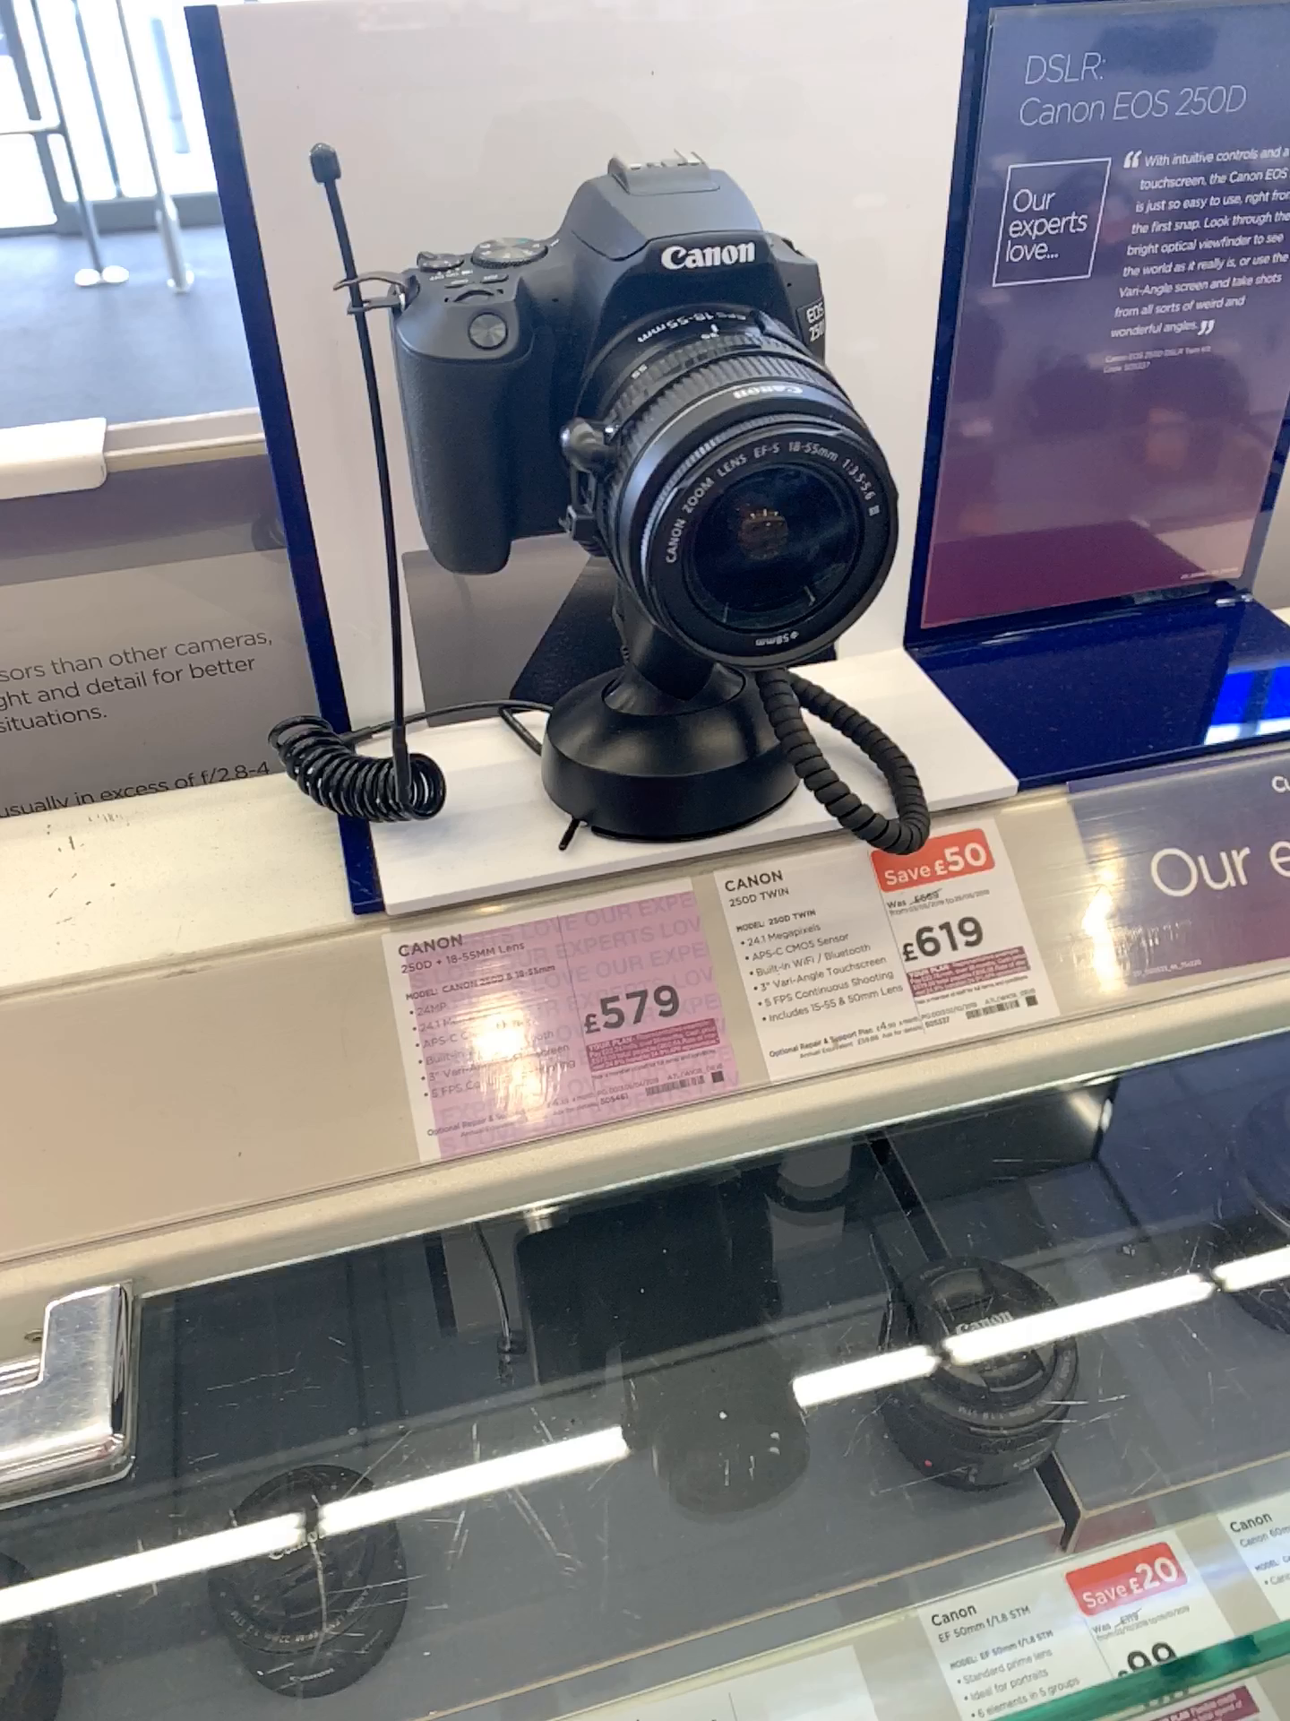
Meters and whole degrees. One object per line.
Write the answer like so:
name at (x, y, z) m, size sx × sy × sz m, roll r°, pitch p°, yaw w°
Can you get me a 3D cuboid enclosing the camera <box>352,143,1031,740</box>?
camera at (0.001, -0.116, 0.337) m, size 0.120 × 0.089 × 0.141 m, roll -11°, pitch 39°, yaw -13°
